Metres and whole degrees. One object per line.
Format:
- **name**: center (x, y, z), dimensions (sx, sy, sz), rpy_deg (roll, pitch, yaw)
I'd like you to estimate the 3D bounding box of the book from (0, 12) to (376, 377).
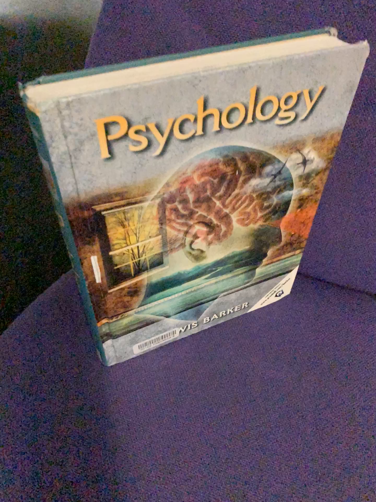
- **book**: center (0.018, -0.020, 0.336), dimensions (0.243, 0.287, 0.040), rpy_deg (-20, 50, -16)
